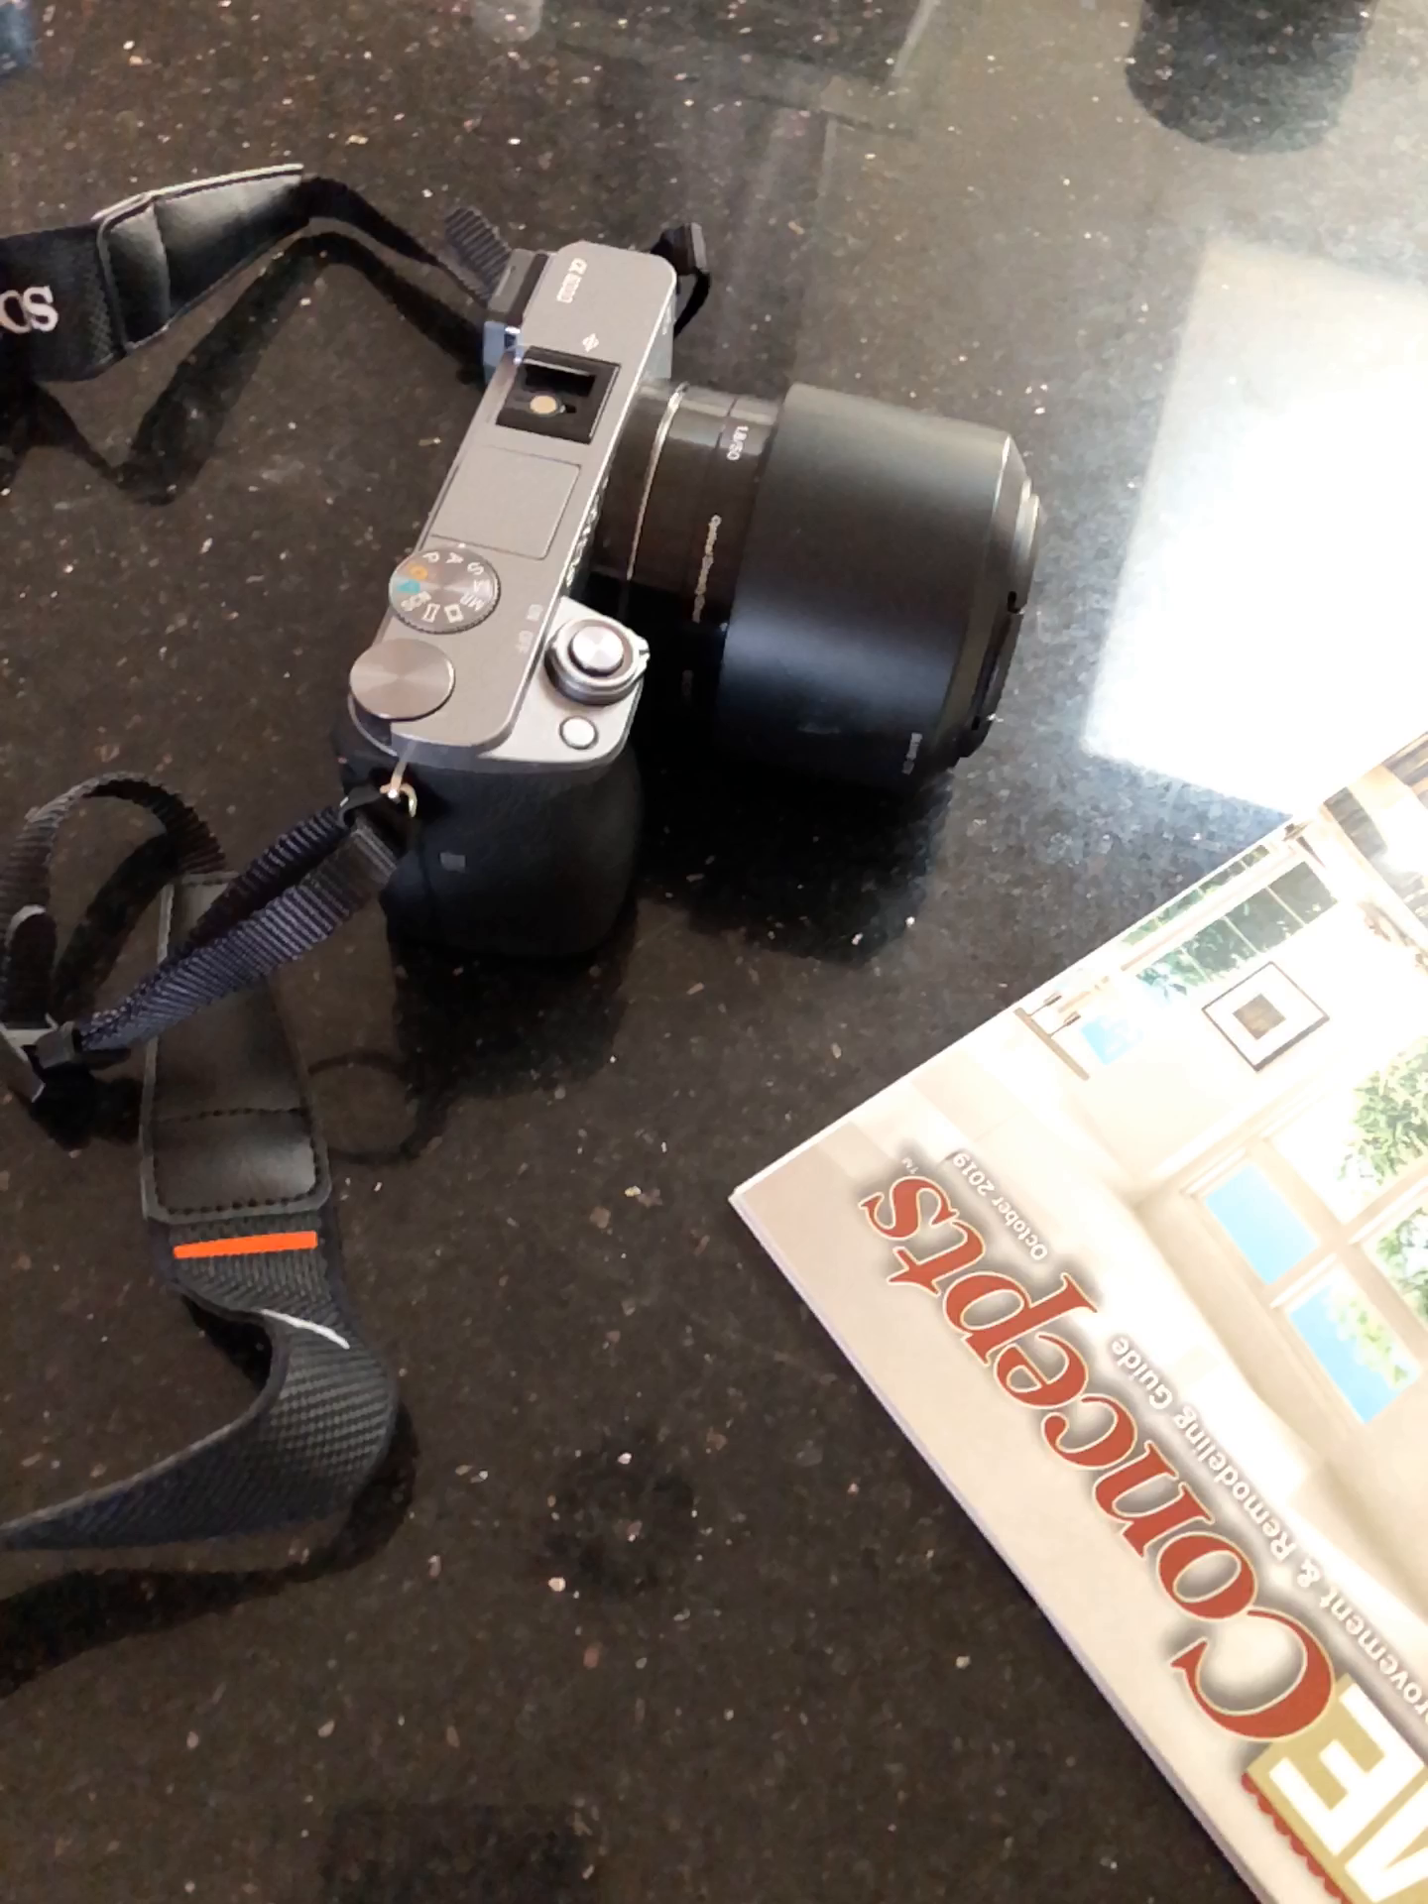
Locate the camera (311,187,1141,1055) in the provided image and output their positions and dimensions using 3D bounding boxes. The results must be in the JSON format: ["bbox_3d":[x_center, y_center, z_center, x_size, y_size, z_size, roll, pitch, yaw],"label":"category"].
[{"bbox_3d":[0.007,-0.060,0.278,0.110,0.060,0.120,13,60,2],"label":"camera"}]
